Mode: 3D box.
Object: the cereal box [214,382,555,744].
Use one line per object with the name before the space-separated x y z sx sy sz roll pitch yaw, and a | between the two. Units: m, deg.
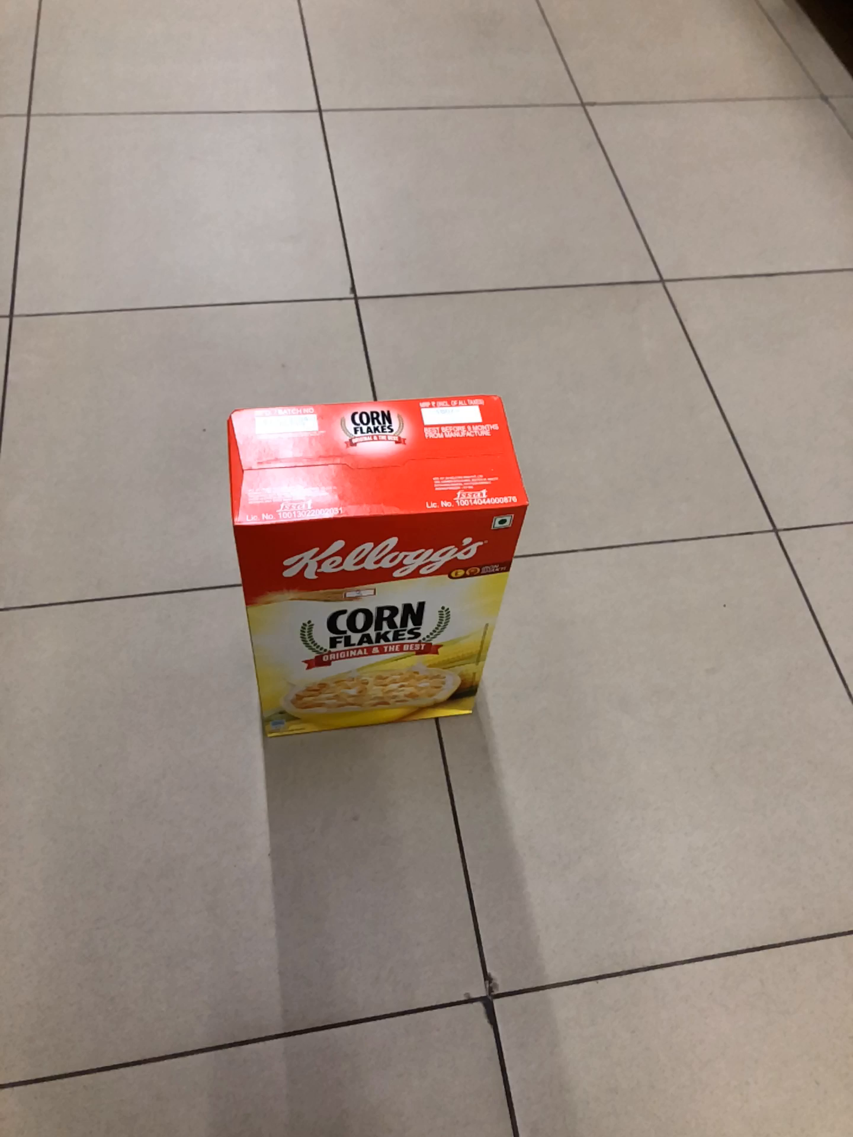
cereal box | -0.042 0.013 0.716 0.200 0.319 0.100 -5 58 -9
